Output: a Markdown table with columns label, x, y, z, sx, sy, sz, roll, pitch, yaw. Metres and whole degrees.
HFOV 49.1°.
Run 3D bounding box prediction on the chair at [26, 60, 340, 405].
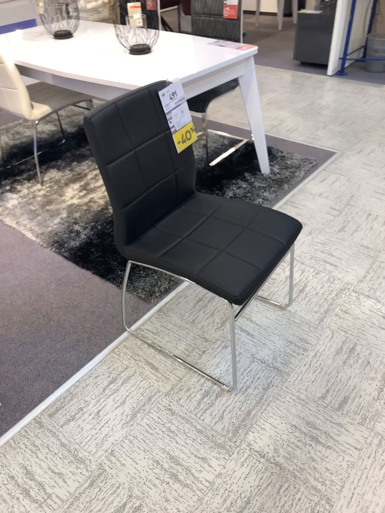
| label | x | y | z | sx | sy | sz | roll | pitch | yaw |
| --- | --- | --- | --- | --- | --- | --- | --- | --- | --- |
| chair | 0.004 | -0.109 | 1.364 | 0.630 | 0.795 | 0.553 | 21 | 45 | 28 |
